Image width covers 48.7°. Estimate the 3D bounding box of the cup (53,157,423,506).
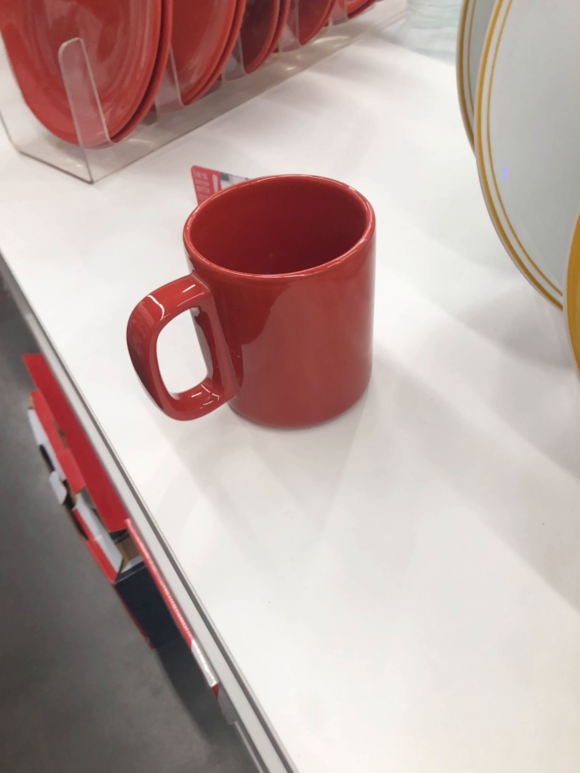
[{"bbox_3d":[-0.018,-0.033,0.301,0.130,0.082,0.091,-33,50,-24],"label":"cup"}]
